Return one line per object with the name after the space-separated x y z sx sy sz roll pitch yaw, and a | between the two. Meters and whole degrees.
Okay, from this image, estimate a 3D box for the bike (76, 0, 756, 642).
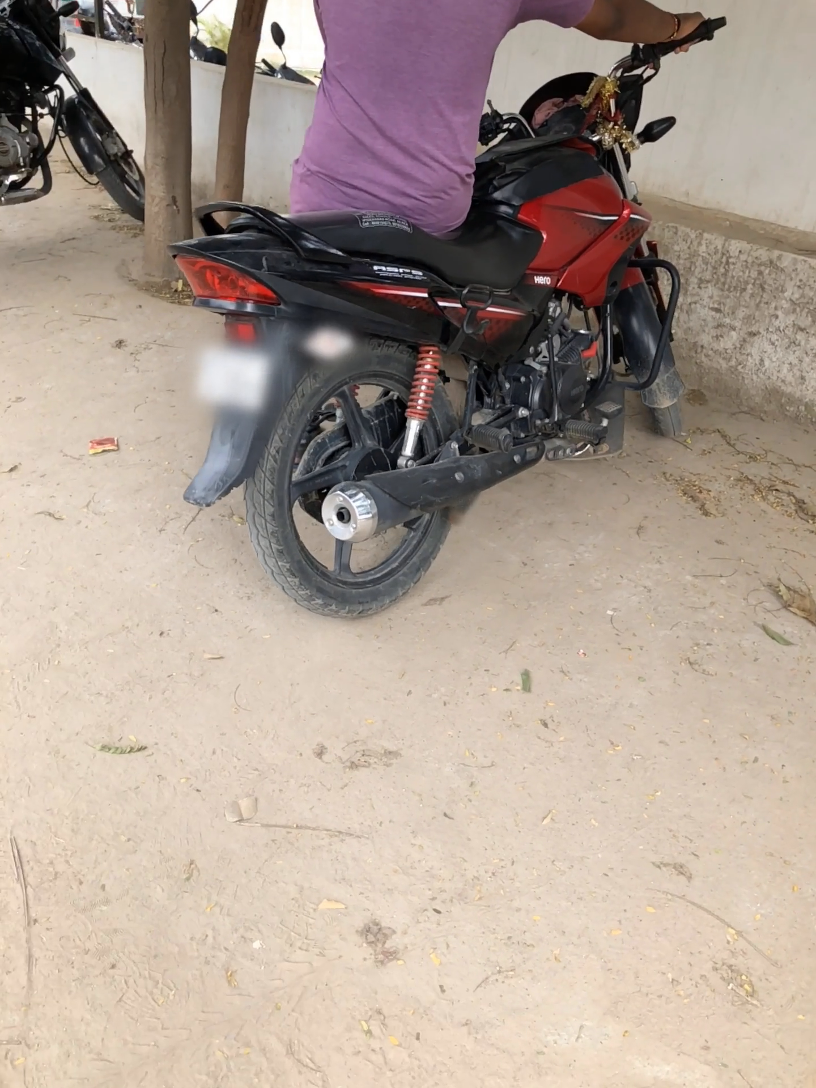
0.120 -0.860 2.208 0.740 1.086 1.710 22 39 25 | bike
